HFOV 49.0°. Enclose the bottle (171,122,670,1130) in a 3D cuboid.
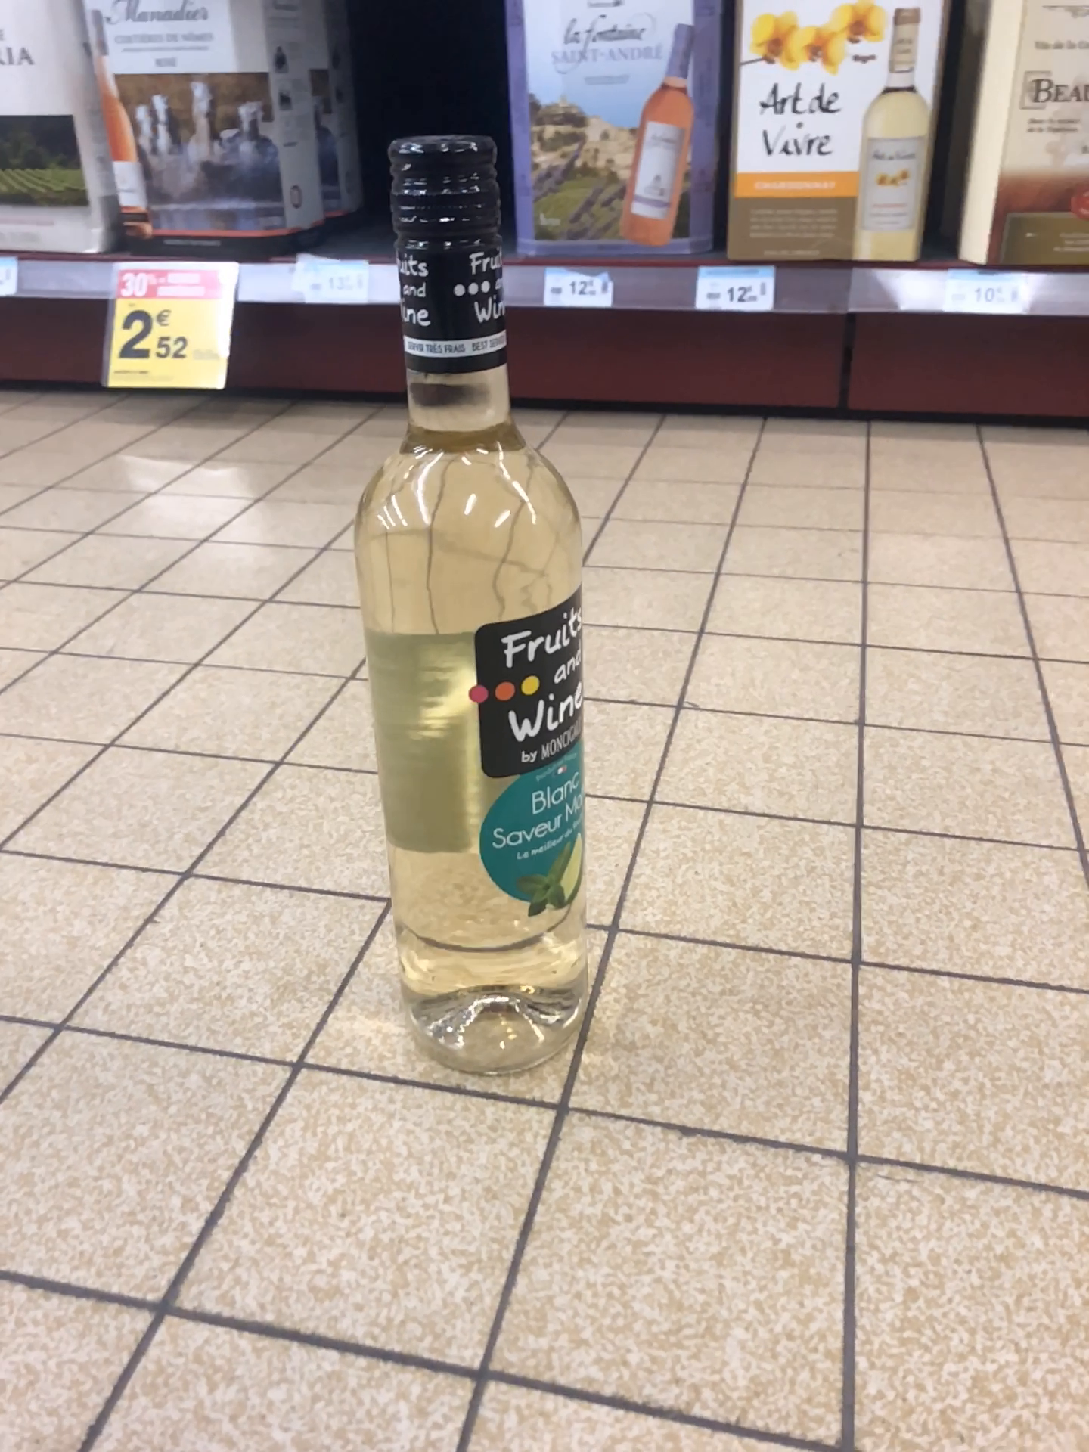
[{"bbox_3d":[-0.026,-0.027,0.389,0.090,0.298,0.101,16,33,29],"label":"bottle"}]
